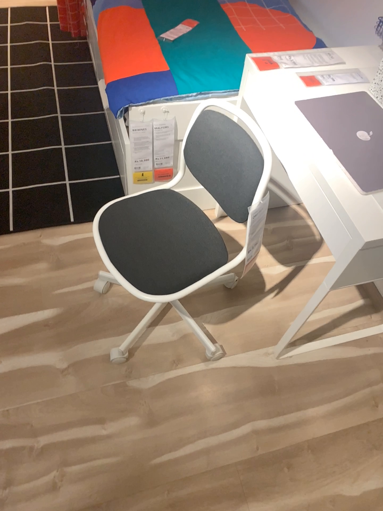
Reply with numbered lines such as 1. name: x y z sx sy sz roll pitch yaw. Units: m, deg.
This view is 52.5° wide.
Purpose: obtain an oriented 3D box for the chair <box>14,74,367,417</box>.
1. chair: -0.026 -0.017 1.176 0.621 0.658 0.551 -30 63 -23
